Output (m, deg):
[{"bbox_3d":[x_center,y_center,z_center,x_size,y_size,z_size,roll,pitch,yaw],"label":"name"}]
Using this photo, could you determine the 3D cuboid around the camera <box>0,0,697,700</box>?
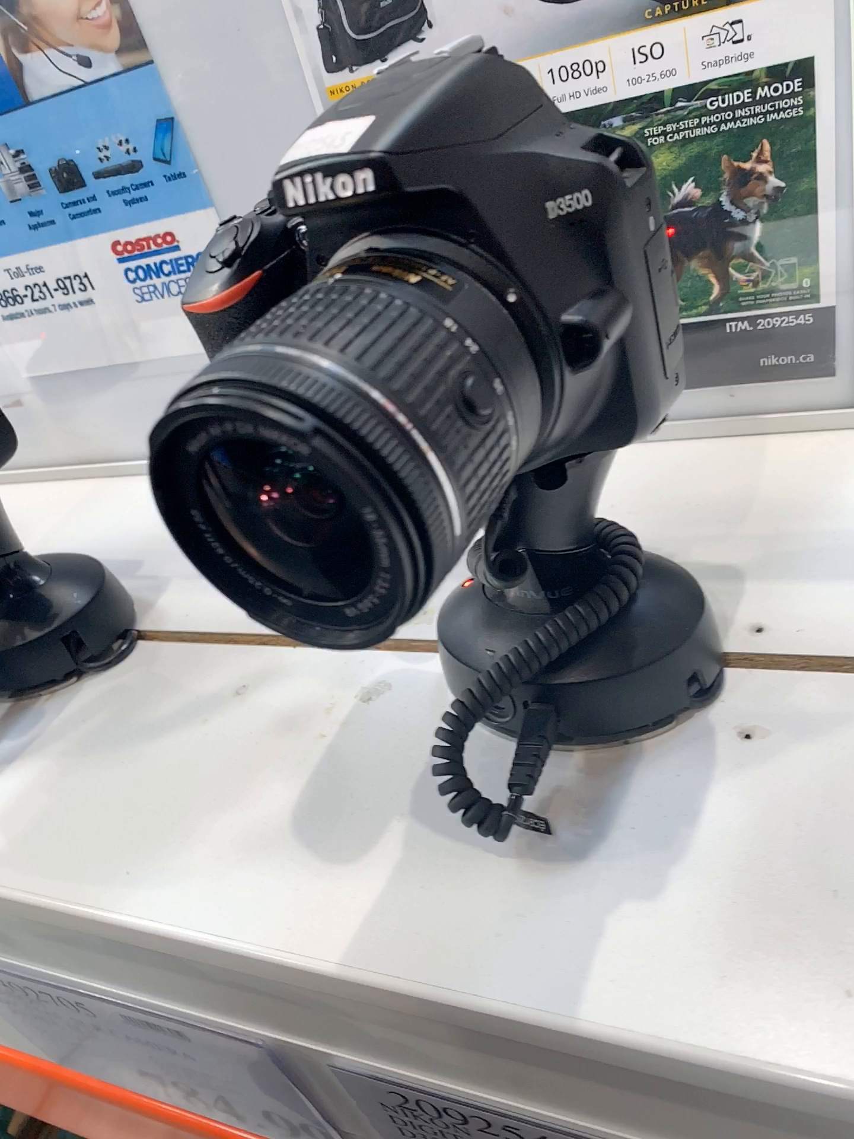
[{"bbox_3d":[-0.014,-0.054,0.206,0.117,0.099,0.121,2,39,29],"label":"camera"}]
